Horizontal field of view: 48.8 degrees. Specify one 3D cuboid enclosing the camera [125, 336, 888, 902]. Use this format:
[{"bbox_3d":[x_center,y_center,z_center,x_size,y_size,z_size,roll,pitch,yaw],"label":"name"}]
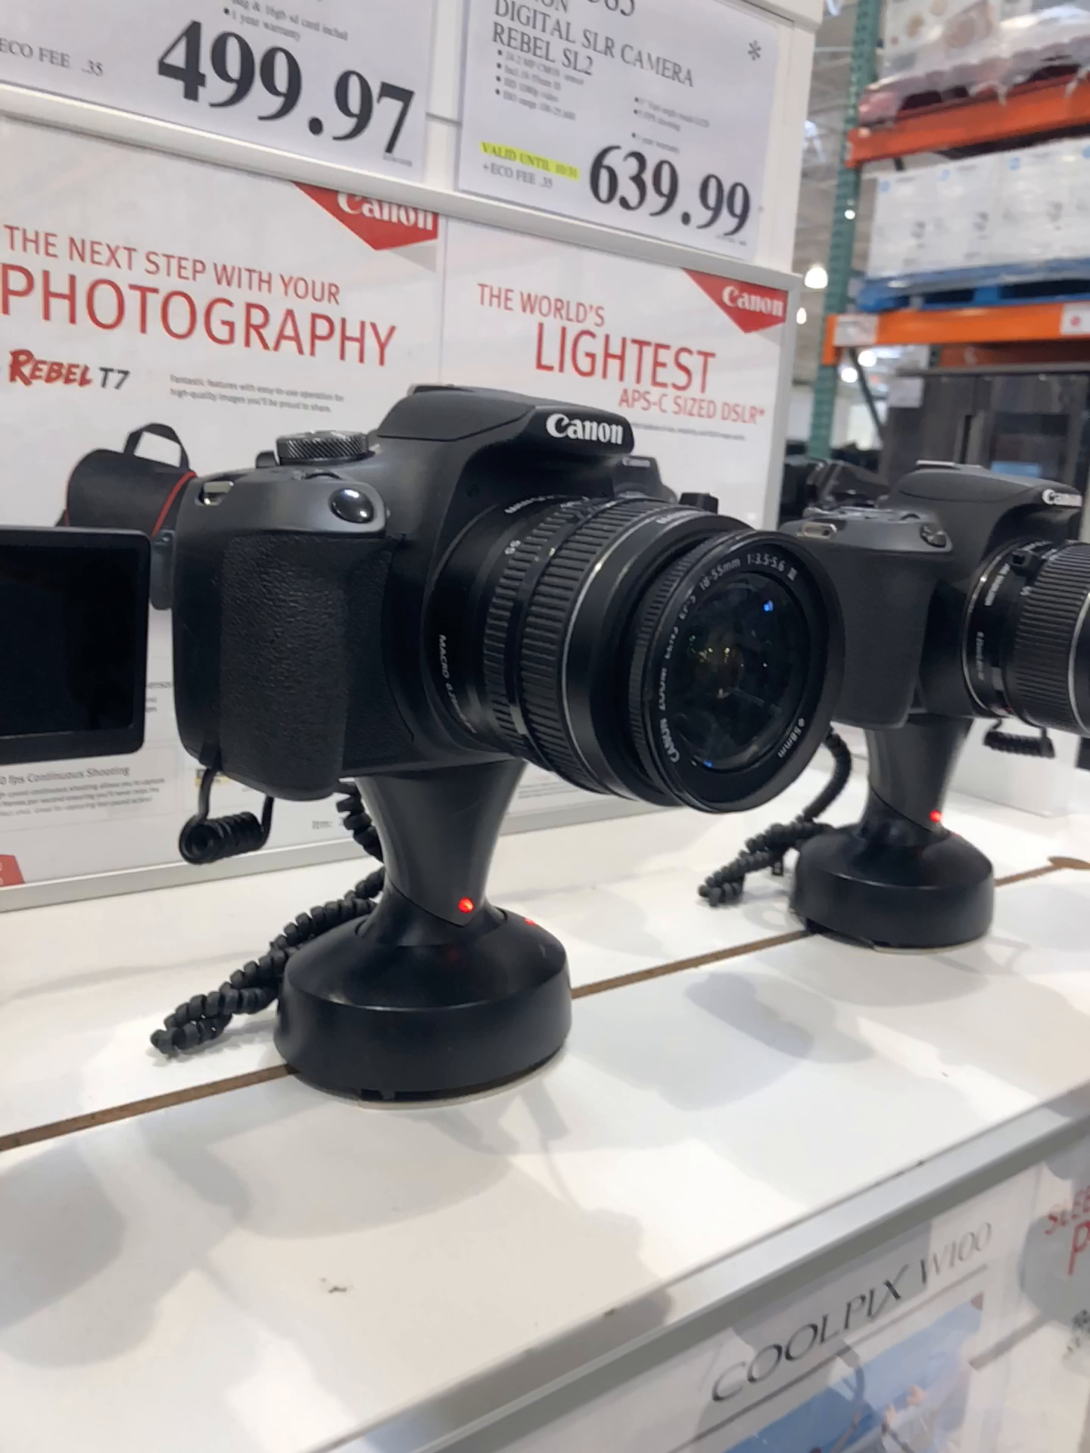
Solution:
[{"bbox_3d":[-0.018,-0.035,0.304,0.130,0.100,0.140,-4,14,-36],"label":"camera"}]
